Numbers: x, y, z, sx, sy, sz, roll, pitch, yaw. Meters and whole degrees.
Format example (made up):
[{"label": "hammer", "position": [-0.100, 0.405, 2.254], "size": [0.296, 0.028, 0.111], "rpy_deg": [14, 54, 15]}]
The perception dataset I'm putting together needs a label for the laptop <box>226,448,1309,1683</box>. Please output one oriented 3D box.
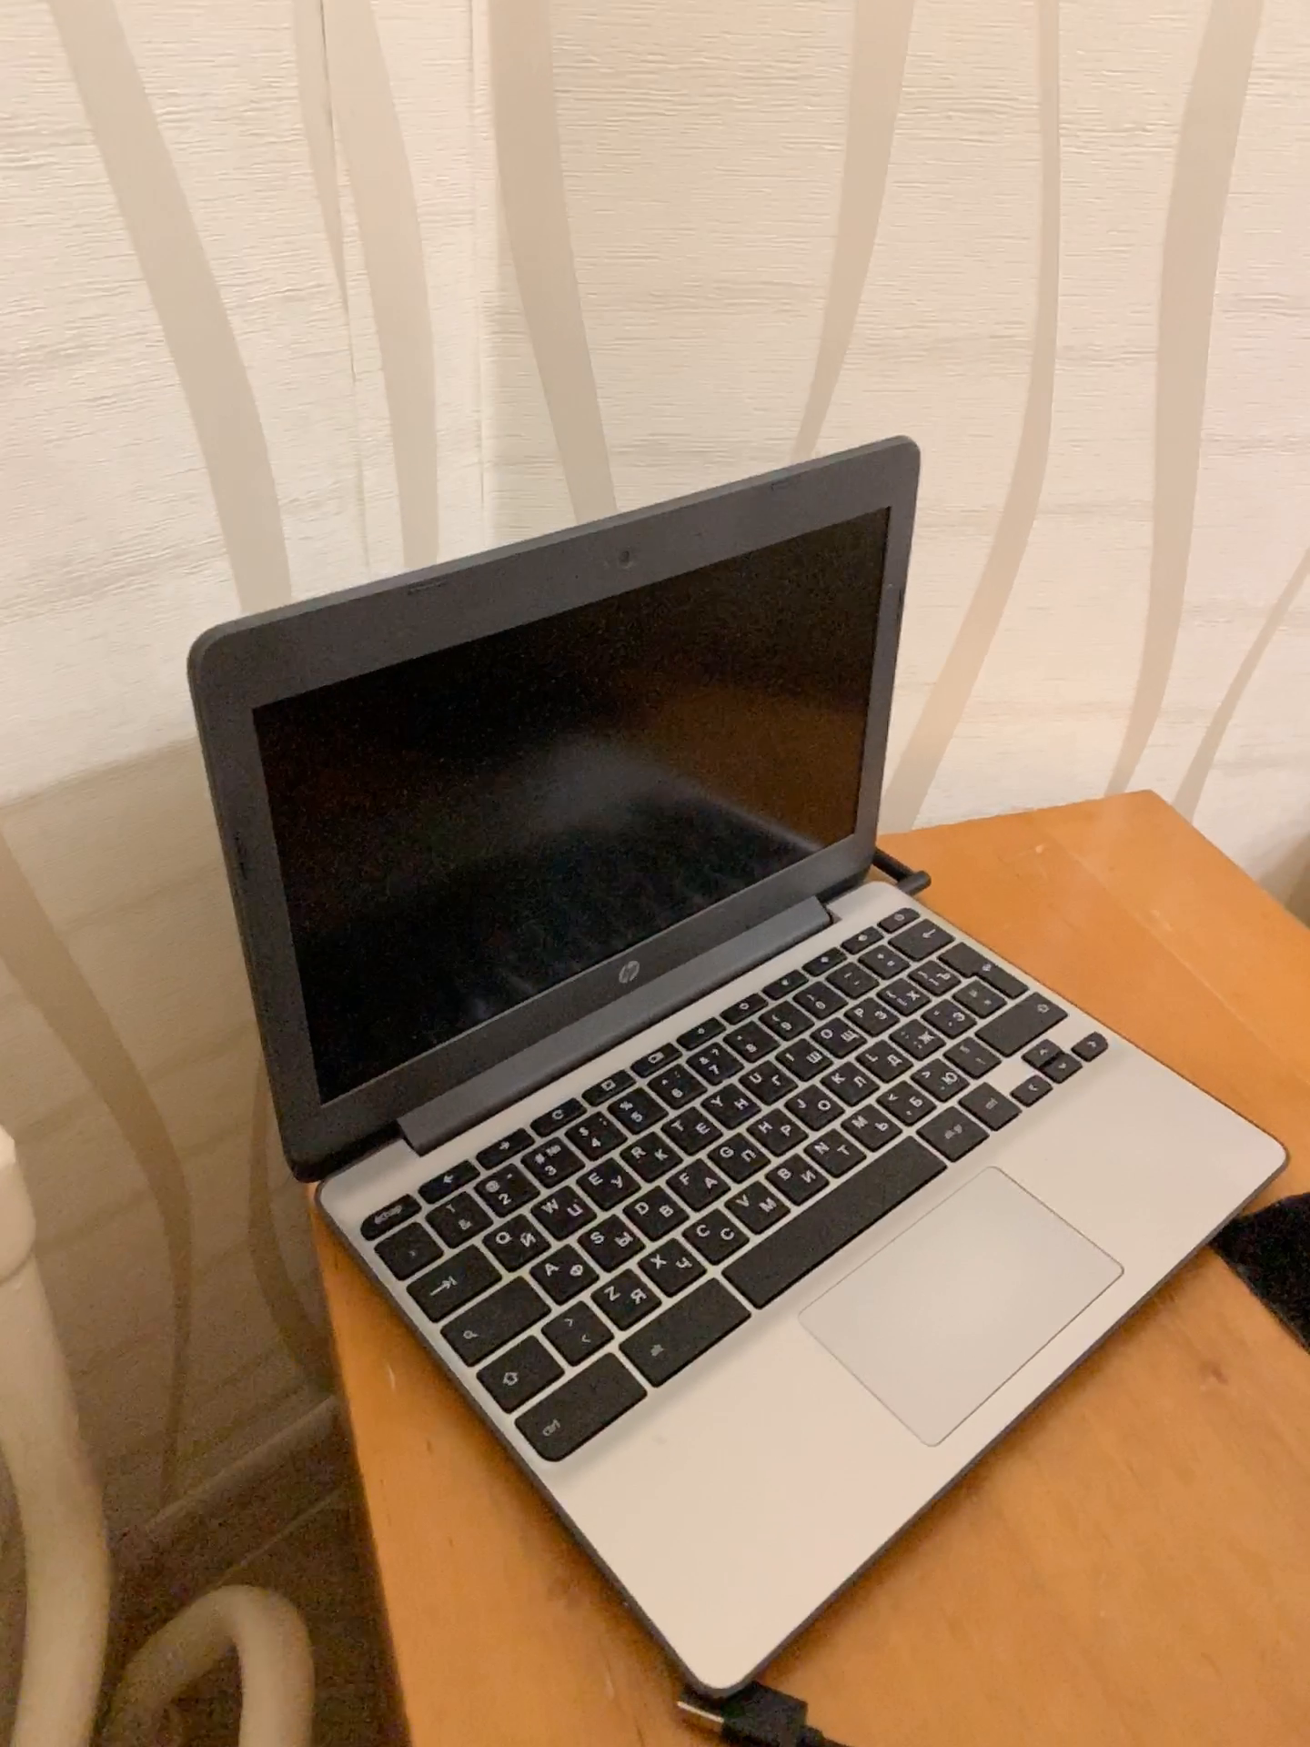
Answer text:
[{"label": "laptop", "position": [0.056, 0.018, 0.403], "size": [0.272, 0.187, 0.207], "rpy_deg": [-25, 44, -34]}]
